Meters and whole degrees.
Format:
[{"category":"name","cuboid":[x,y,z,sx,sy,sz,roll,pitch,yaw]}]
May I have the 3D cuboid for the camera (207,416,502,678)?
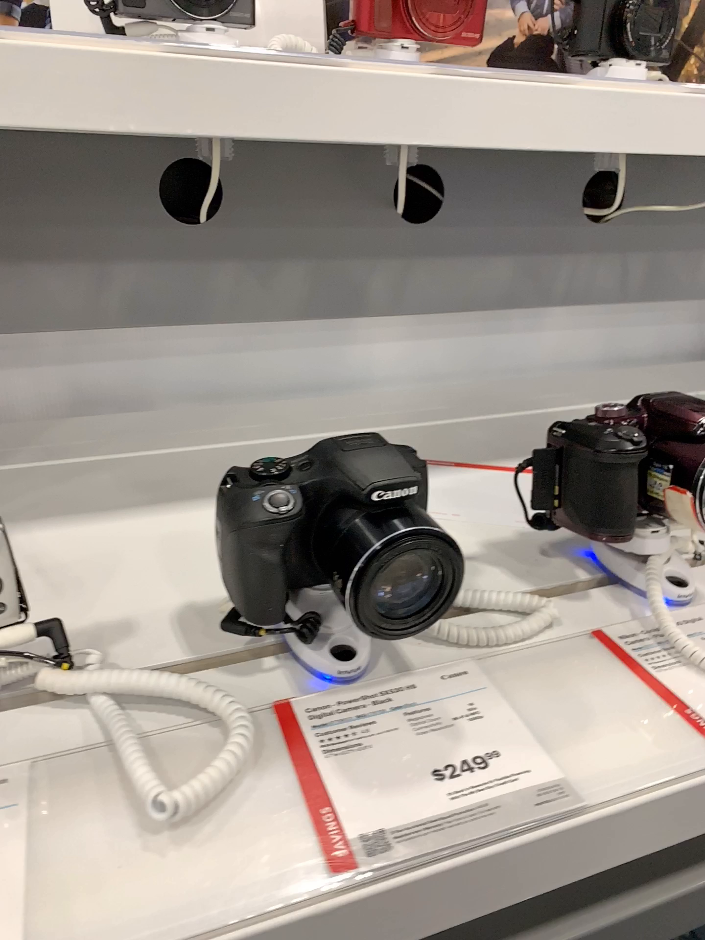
[{"category":"camera","cuboid":[-0.005,0.032,0.377,0.120,0.080,0.100,-7,25,-19]}]
